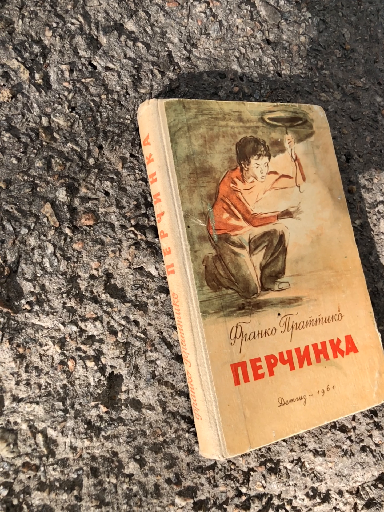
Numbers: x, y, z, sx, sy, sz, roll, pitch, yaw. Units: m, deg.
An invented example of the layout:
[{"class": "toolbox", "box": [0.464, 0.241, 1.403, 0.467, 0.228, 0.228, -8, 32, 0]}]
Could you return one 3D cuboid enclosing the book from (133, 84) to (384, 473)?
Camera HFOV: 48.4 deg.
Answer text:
[{"class": "book", "box": [0.046, 0.002, 0.262, 0.132, 0.030, 0.203, -6, 82, -27]}]
